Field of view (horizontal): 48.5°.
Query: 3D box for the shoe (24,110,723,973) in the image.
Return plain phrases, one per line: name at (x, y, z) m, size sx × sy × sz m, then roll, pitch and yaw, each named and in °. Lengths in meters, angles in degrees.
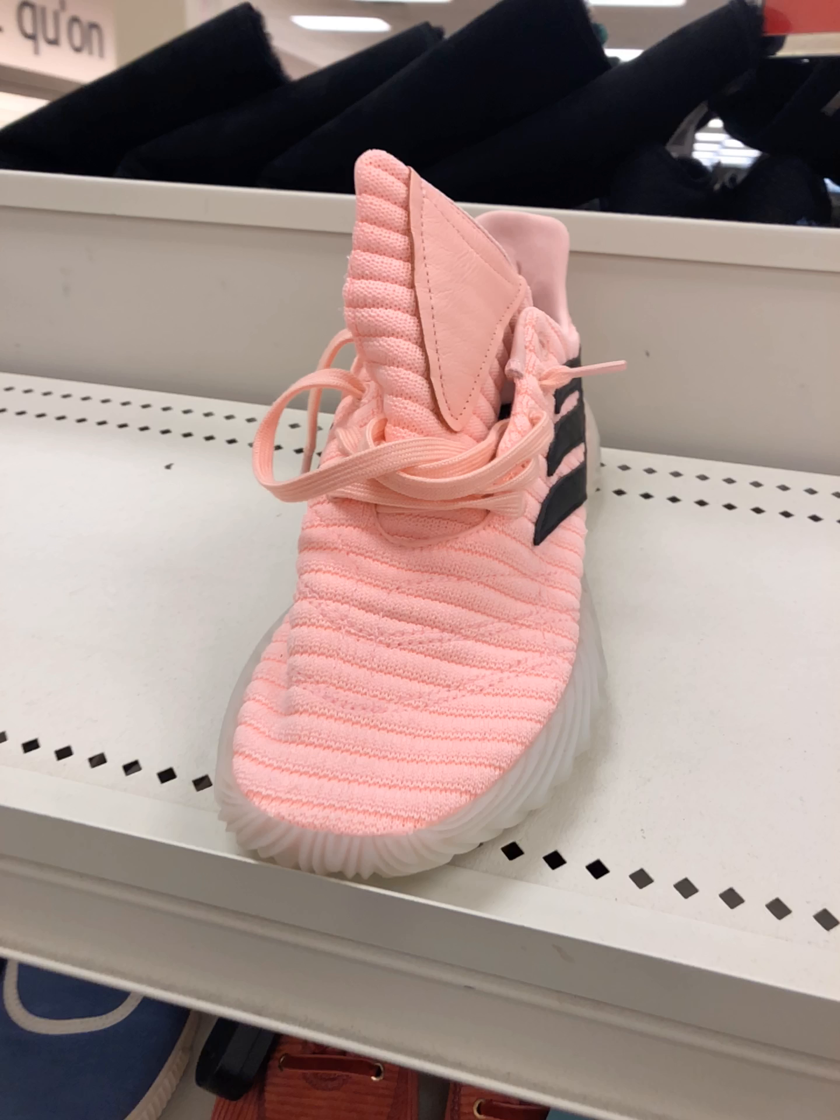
shoe at (0.028, -0.056, 0.344) m, size 0.120 × 0.169 × 0.323 m, roll 10°, pitch 32°, yaw 16°
